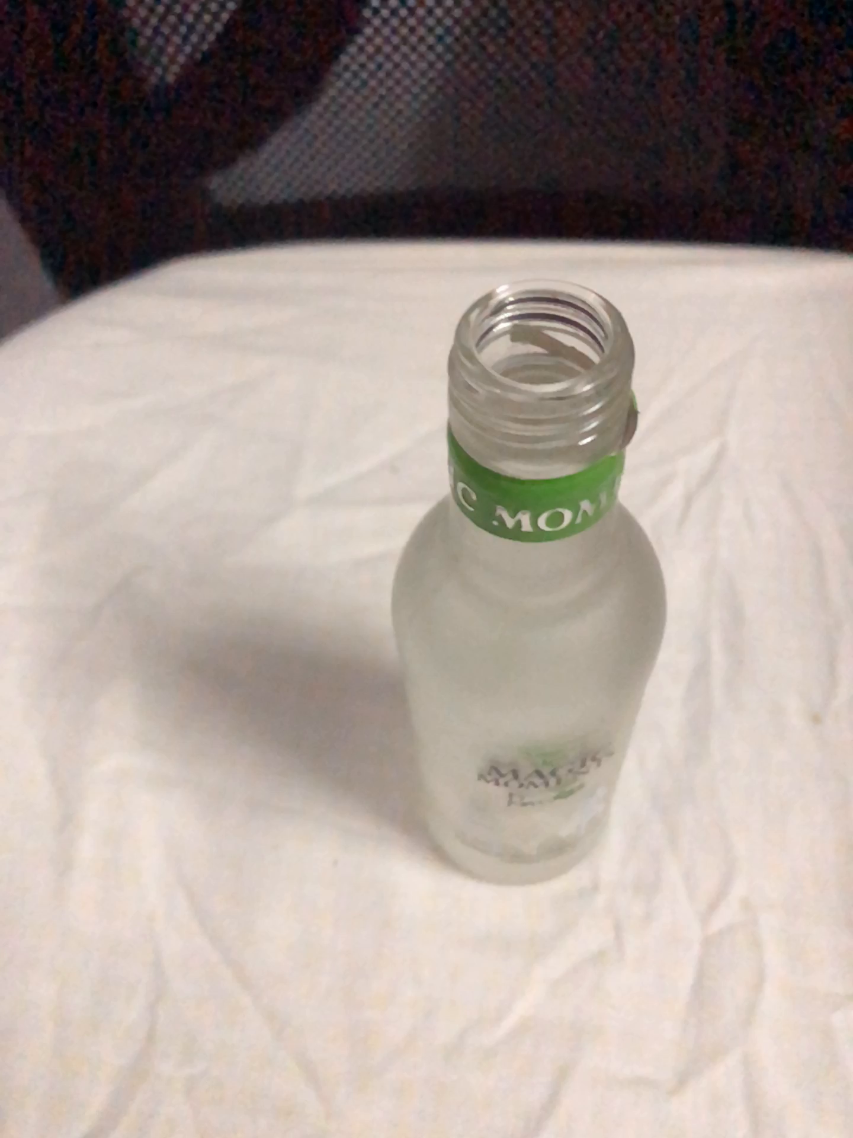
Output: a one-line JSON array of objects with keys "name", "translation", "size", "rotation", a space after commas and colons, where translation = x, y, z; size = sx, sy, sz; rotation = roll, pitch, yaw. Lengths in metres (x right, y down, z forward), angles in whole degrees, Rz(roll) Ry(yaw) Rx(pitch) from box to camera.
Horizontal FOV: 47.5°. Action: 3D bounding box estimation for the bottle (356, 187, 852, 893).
[{"name": "bottle", "translation": [0.025, 0.015, 0.194], "size": [0.060, 0.169, 0.050], "rotation": [-6, 58, -1]}]
